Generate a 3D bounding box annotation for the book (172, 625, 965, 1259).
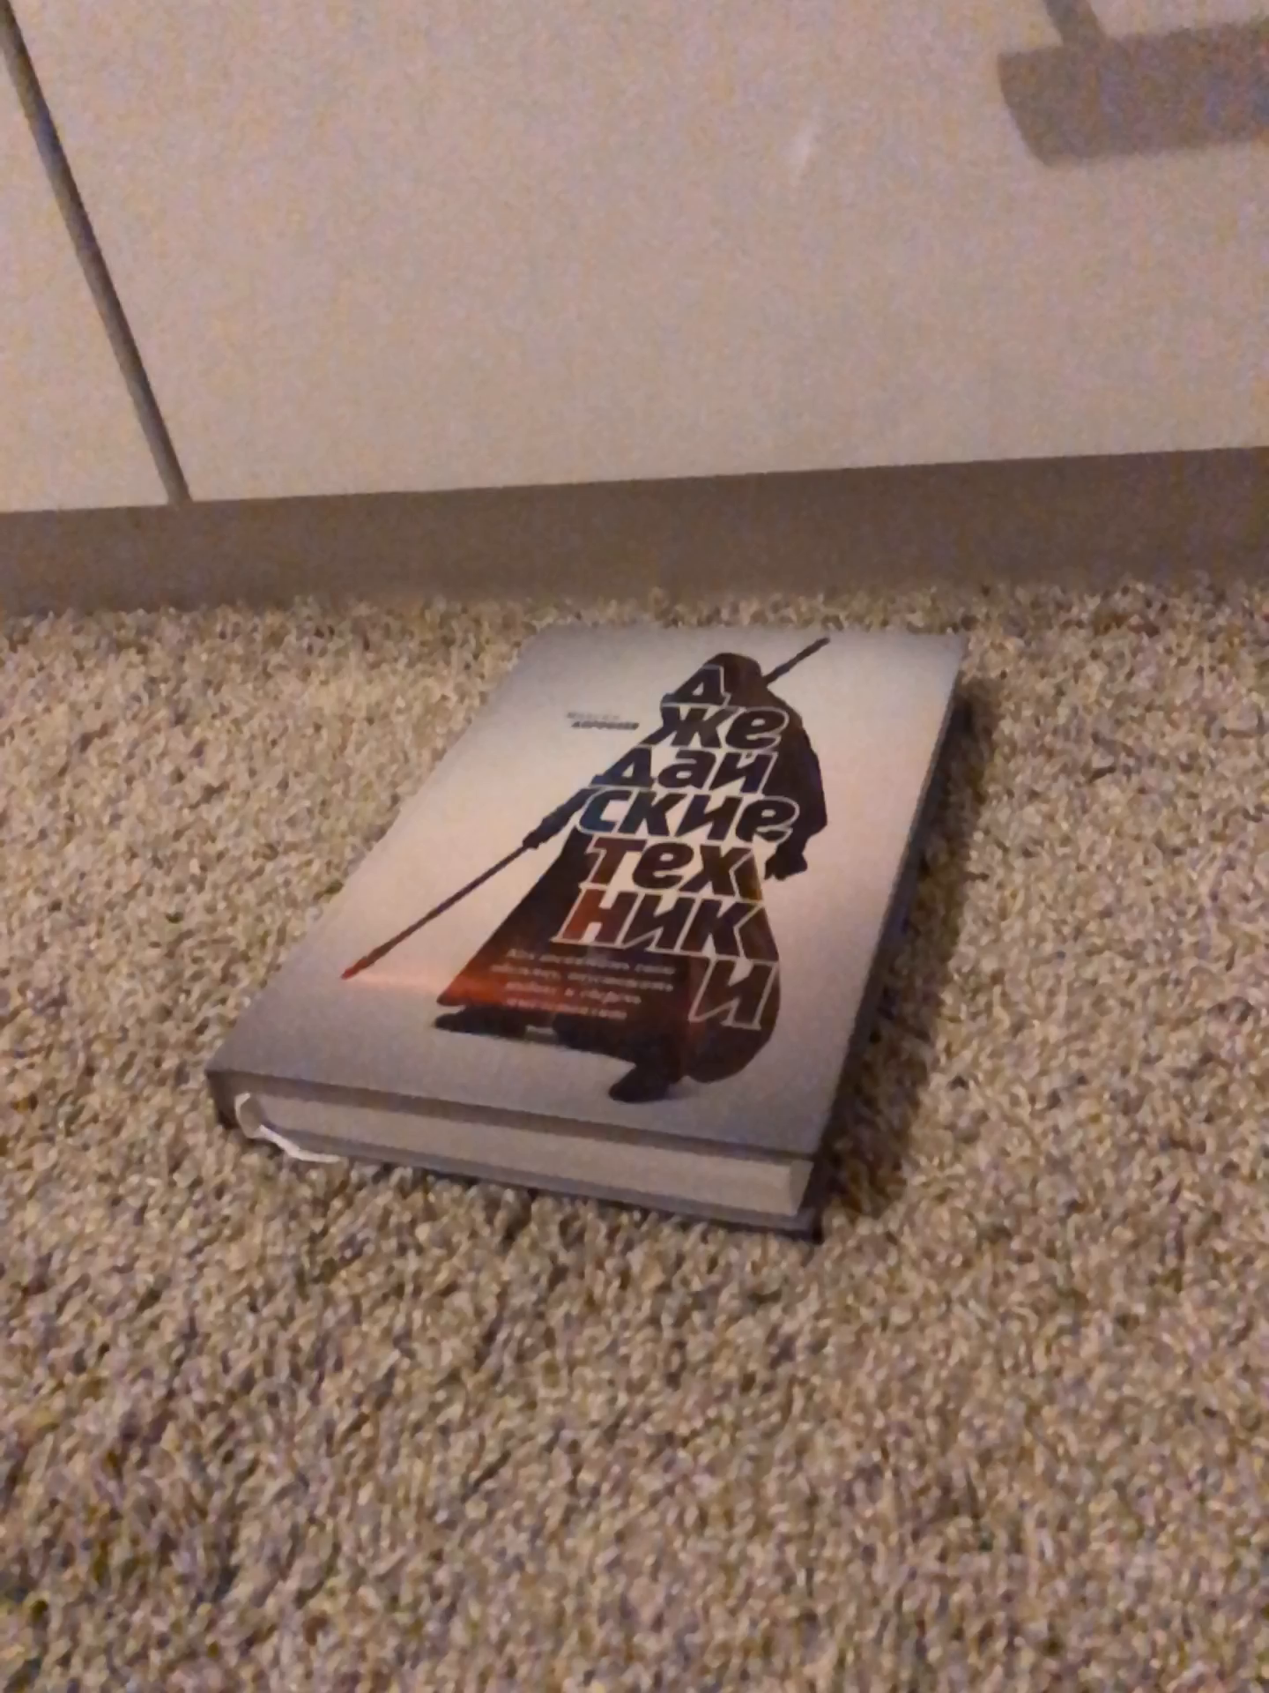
[{"bbox_3d":[0.000,0.004,0.388,0.150,0.026,0.222,4,38,20],"label":"book"}]
